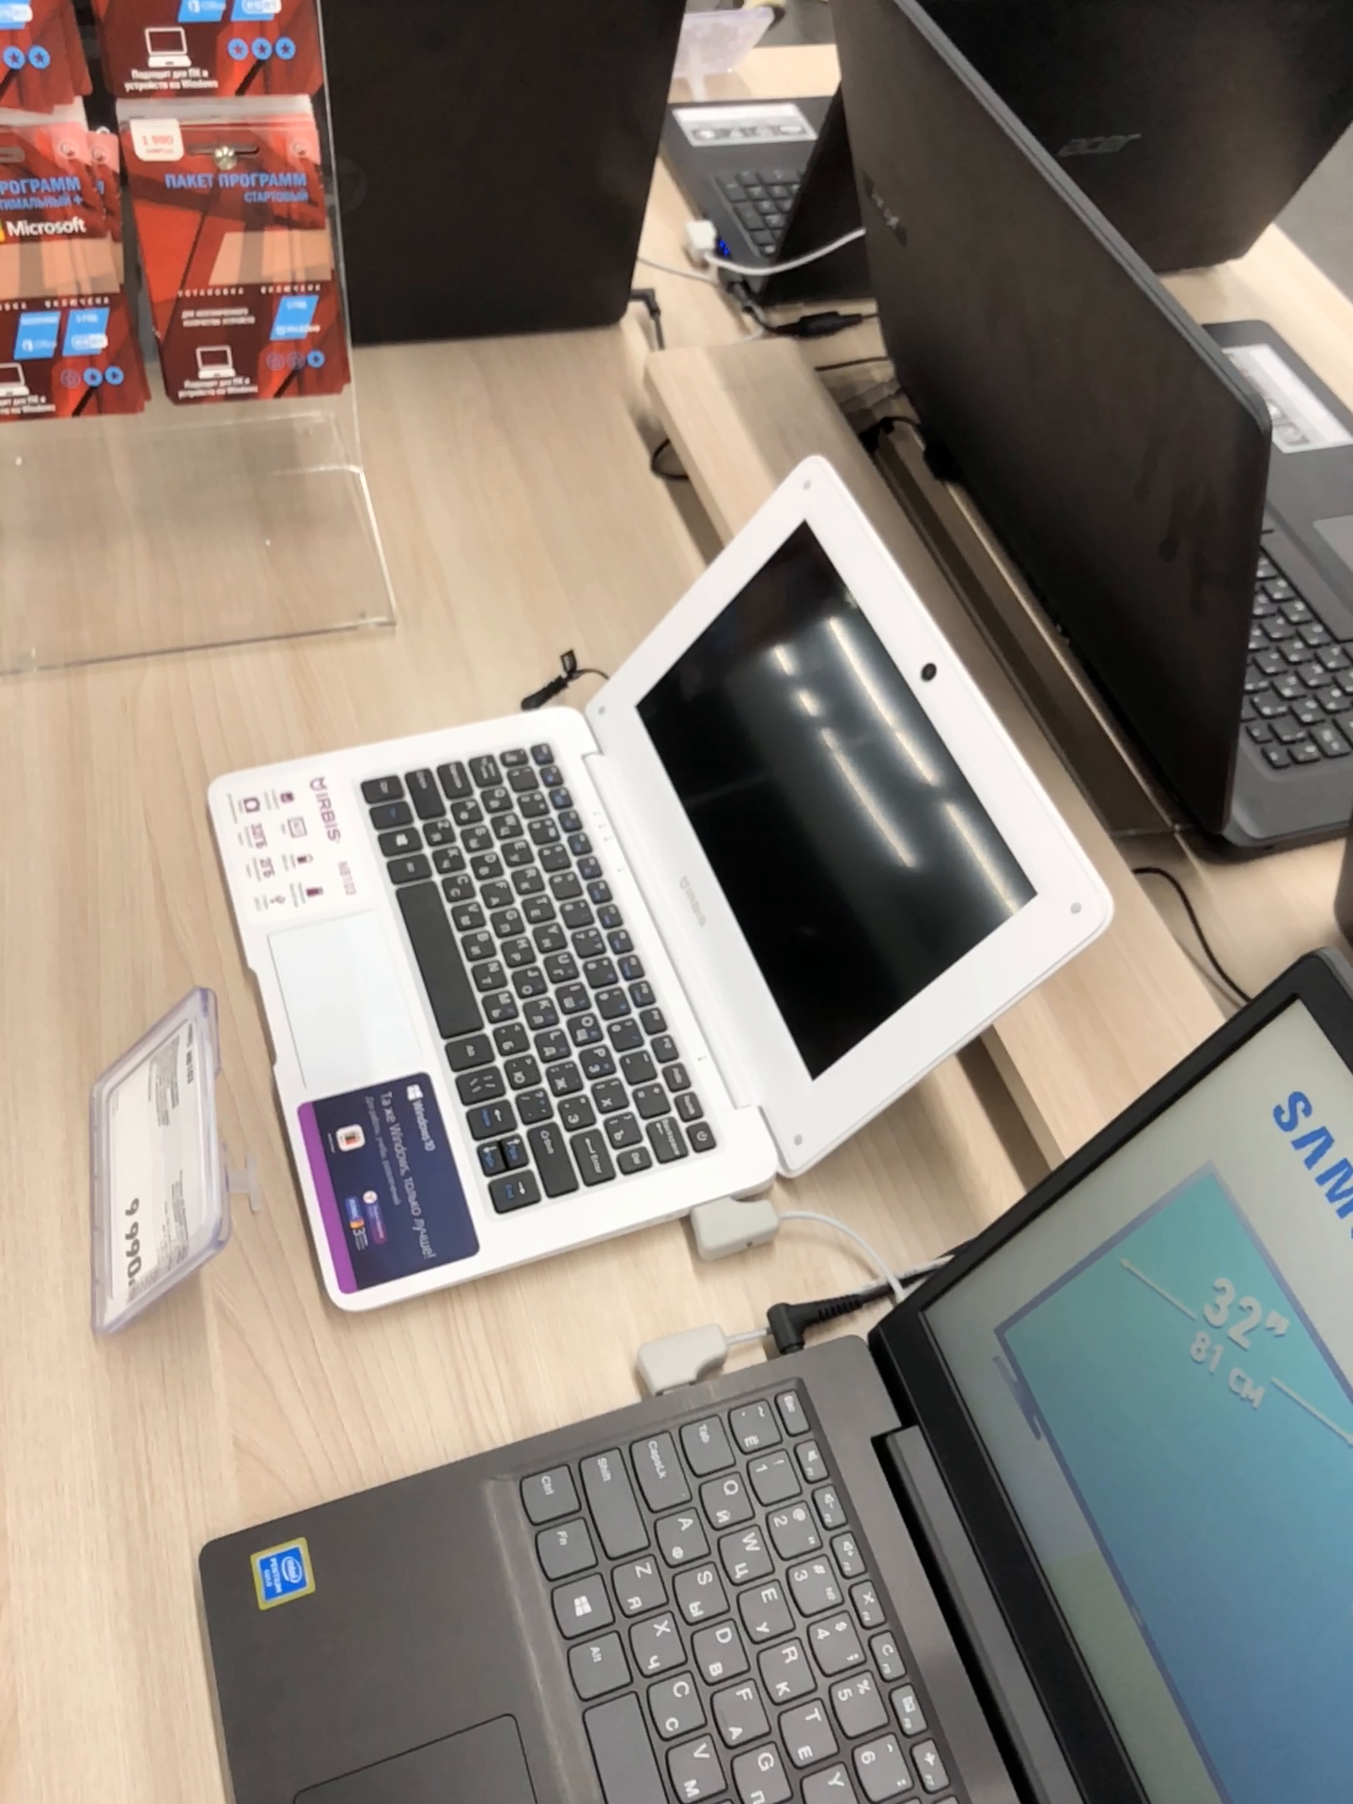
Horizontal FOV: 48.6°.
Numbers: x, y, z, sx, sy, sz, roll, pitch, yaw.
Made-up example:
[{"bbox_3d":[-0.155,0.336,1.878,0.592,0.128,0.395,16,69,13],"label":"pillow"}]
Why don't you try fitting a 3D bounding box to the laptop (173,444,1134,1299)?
[{"bbox_3d":[-0.031,-0.033,0.672,0.317,0.144,0.297,-13,54,-14],"label":"laptop"}]
